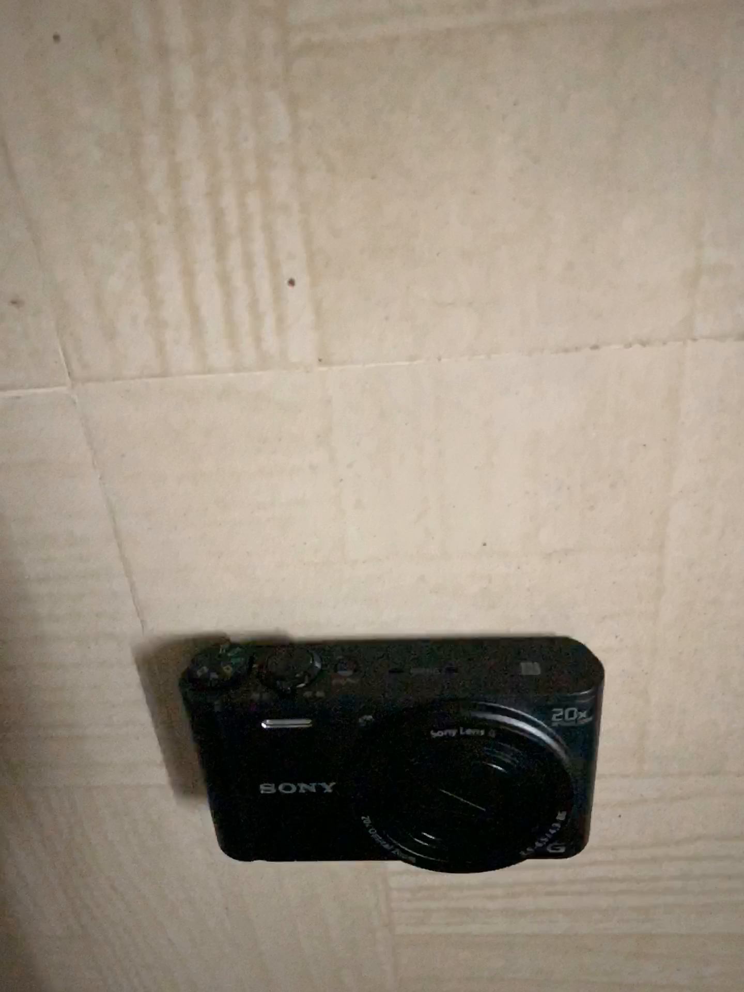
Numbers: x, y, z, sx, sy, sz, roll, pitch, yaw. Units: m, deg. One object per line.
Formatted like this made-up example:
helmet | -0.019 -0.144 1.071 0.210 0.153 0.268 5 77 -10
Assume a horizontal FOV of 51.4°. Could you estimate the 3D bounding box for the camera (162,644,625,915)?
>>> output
camera | 0.006 0.067 0.179 0.092 0.025 0.060 -2 120 6
